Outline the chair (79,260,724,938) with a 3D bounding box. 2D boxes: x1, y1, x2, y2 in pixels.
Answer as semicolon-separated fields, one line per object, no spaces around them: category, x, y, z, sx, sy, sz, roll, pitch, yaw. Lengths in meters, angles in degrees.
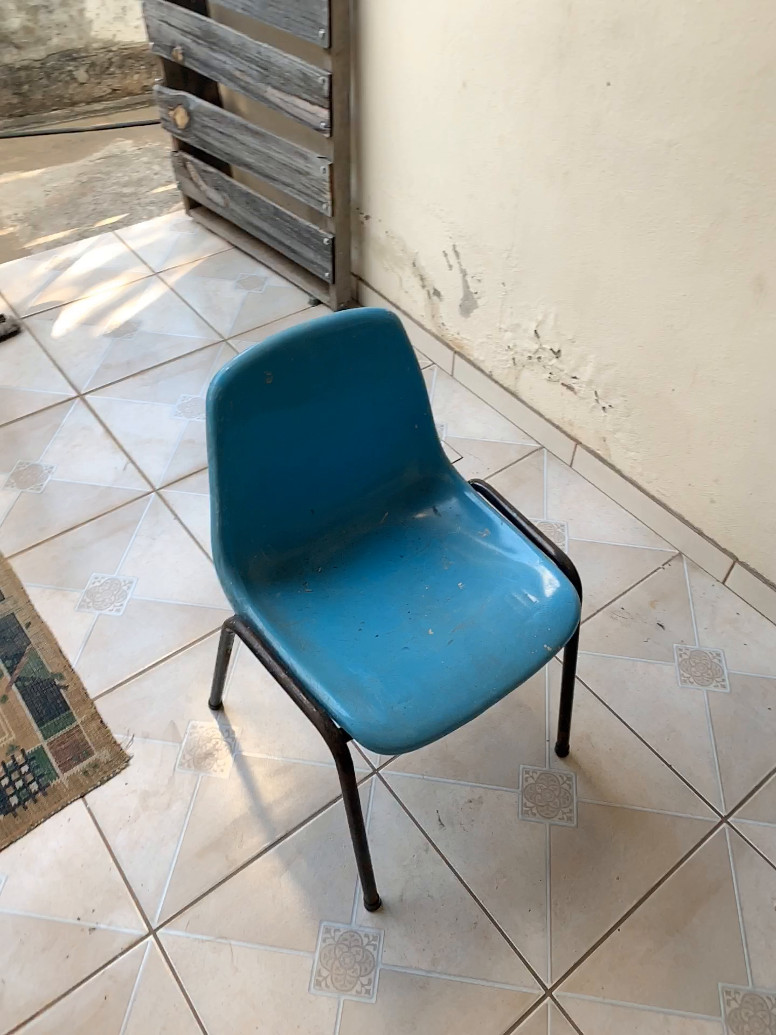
chair;0.001;0.127;1.189;0.551;0.687;0.532;-30;56;-24
